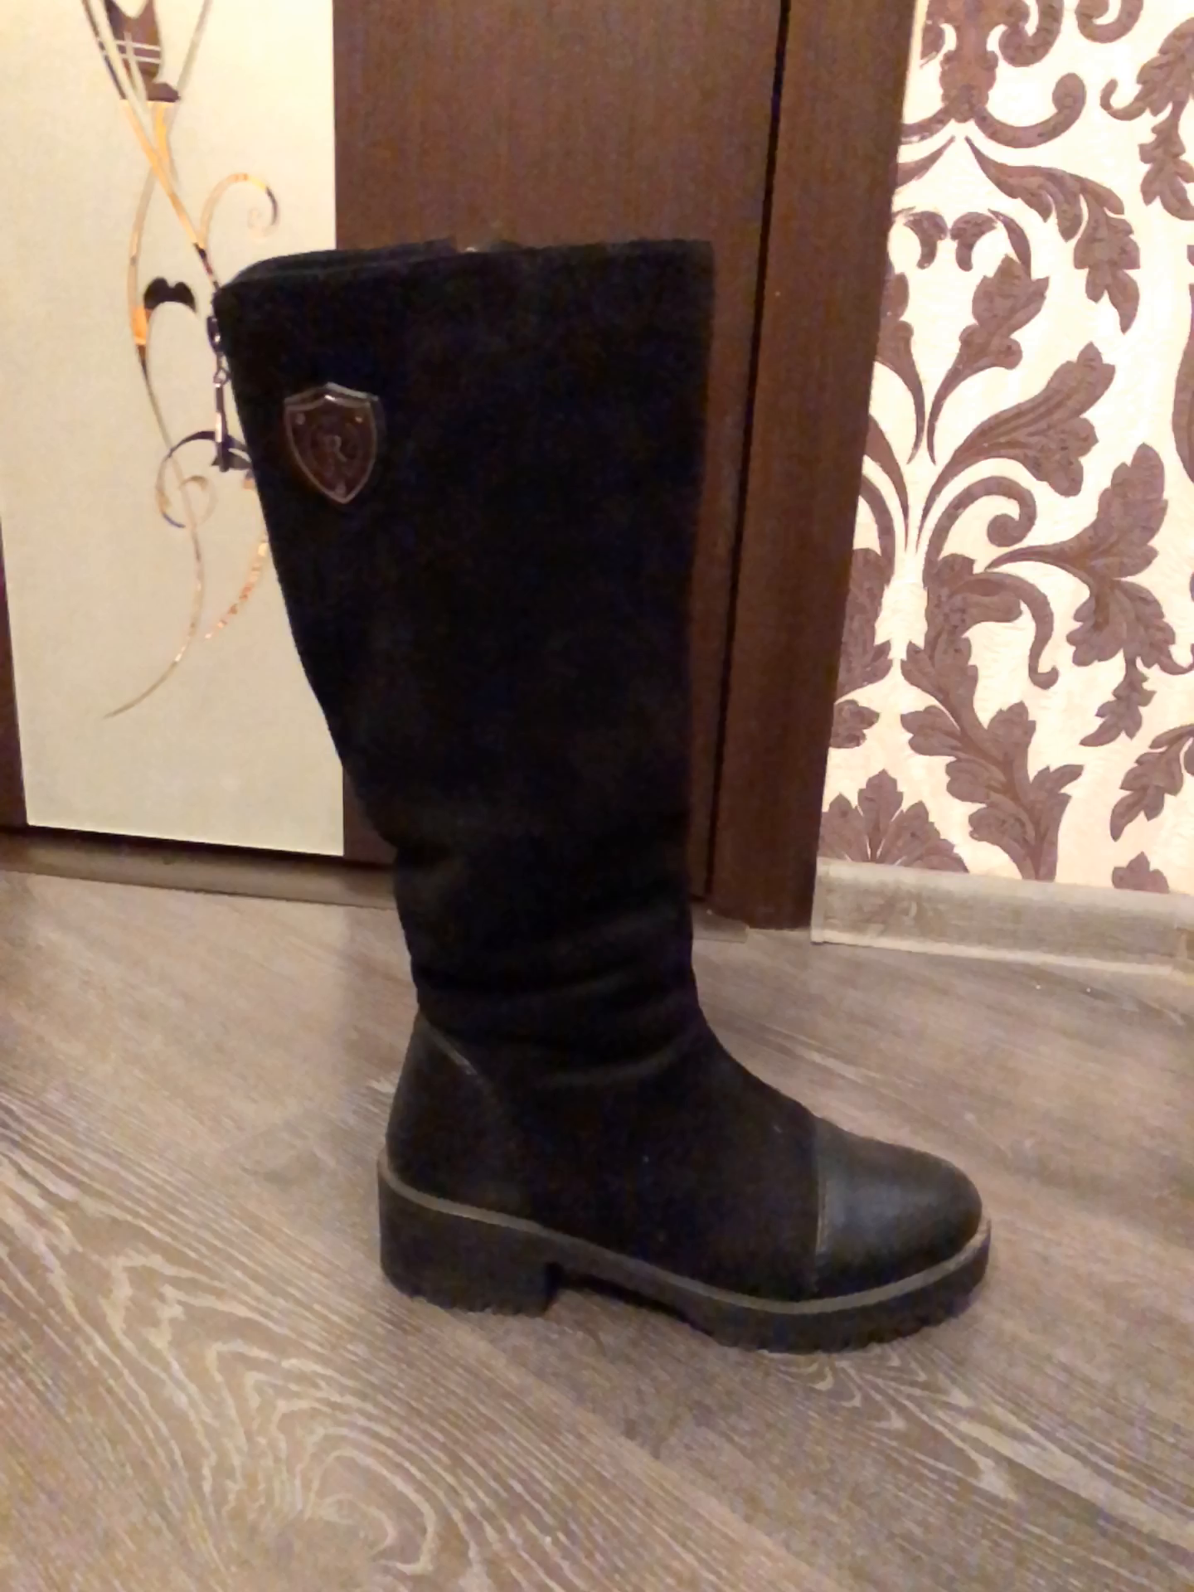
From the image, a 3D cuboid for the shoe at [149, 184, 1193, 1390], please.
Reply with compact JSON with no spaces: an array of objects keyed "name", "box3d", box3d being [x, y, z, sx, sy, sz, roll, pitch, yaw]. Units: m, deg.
[{"name":"shoe","box3d":[0.022,0.002,0.447,0.290,0.358,0.121,3,17,1]}]
